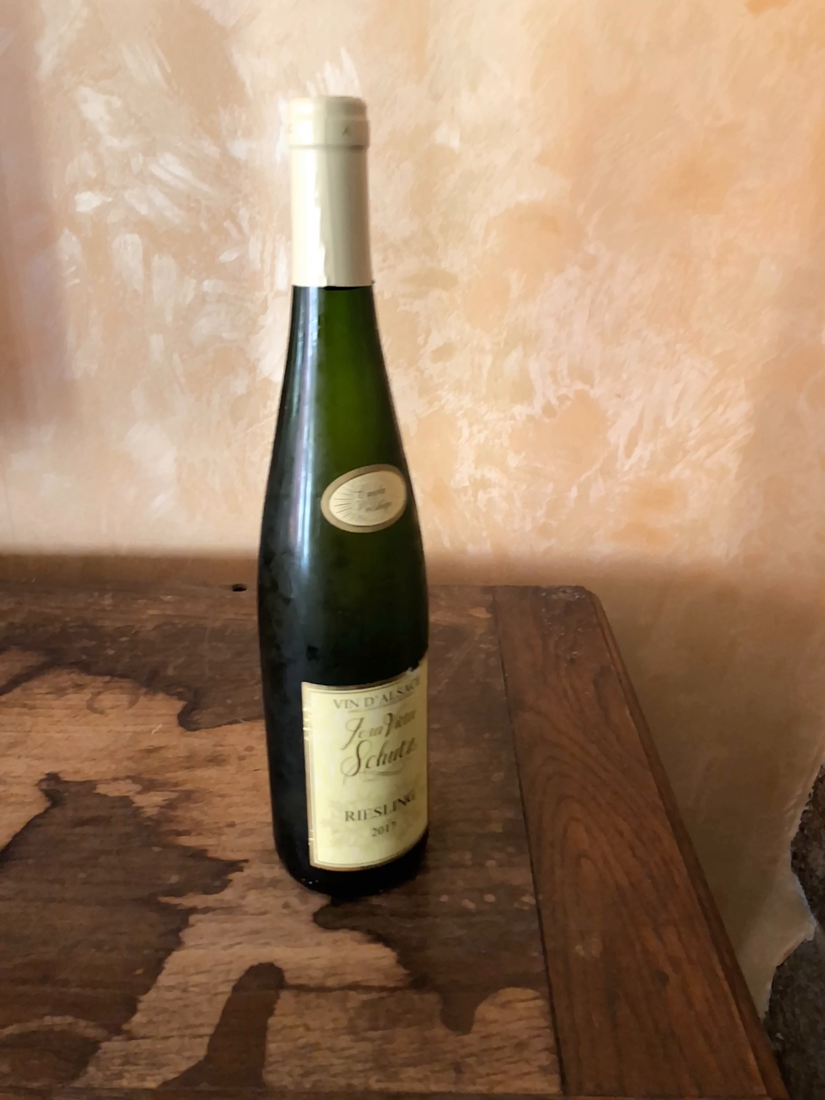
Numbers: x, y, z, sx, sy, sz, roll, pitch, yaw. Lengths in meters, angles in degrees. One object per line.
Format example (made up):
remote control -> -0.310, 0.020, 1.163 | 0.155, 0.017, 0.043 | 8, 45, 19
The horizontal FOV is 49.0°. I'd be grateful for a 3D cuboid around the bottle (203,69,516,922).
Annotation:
bottle -> -0.025, -0.011, 0.368 | 0.080, 0.318, 0.080 | 2, 23, -1
